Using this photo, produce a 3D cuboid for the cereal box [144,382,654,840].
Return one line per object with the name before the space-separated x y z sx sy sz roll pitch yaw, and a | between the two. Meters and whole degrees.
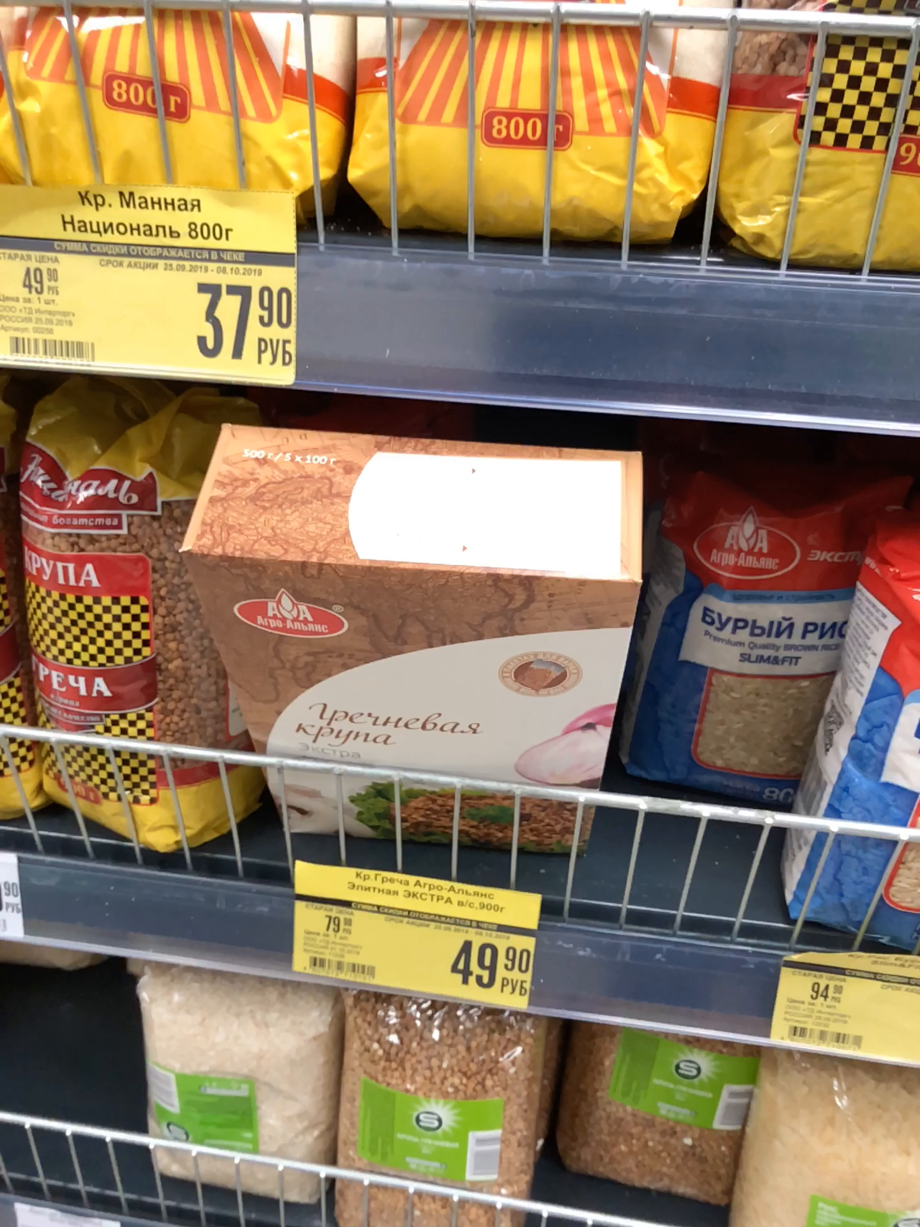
cereal box | -0.014 0.013 0.373 0.140 0.199 0.050 4 54 4
